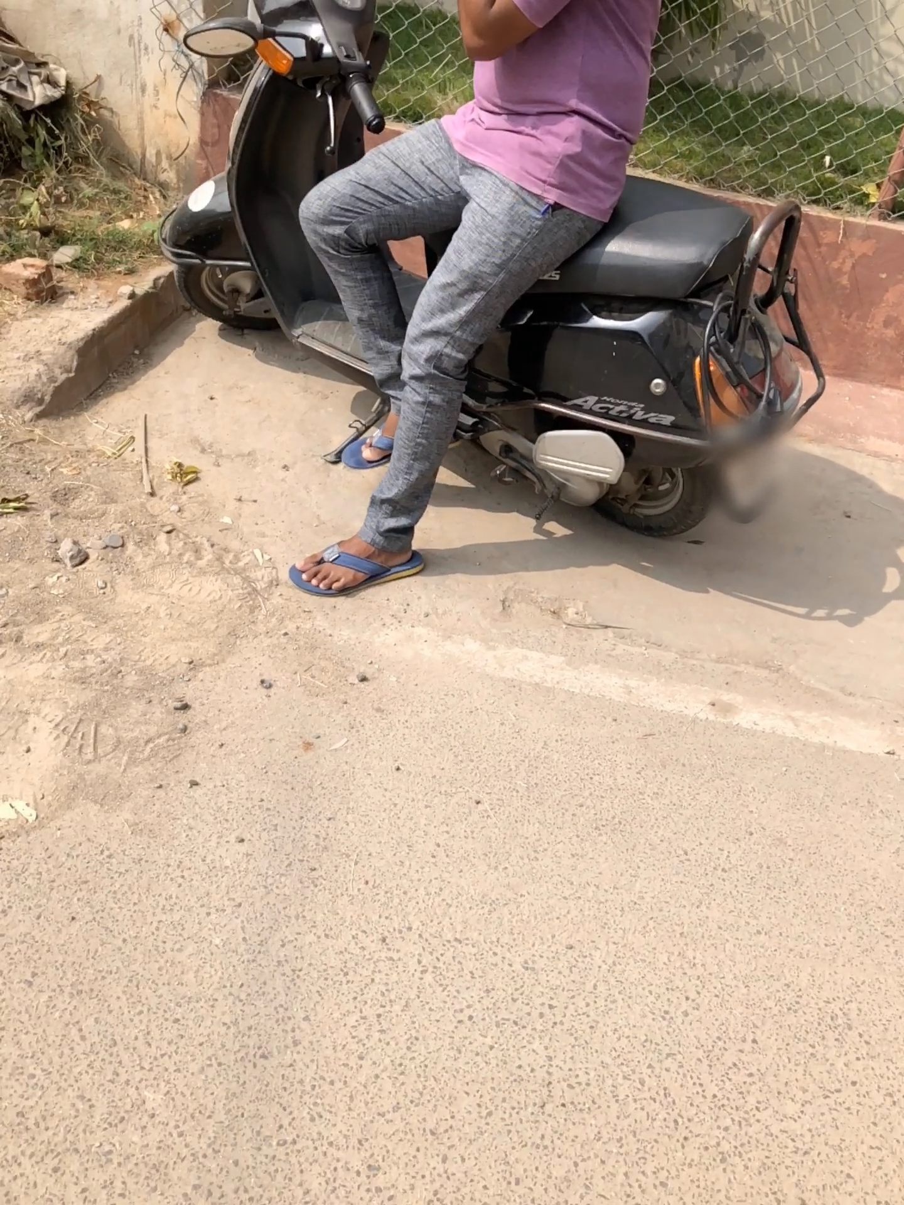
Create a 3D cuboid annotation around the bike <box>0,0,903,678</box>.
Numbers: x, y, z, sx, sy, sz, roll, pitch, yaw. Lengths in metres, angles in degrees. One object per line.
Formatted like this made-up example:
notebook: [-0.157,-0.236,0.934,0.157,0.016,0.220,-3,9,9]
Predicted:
bike: [-0.105,-0.793,2.104,1.548,1.152,0.712,26,40,22]
